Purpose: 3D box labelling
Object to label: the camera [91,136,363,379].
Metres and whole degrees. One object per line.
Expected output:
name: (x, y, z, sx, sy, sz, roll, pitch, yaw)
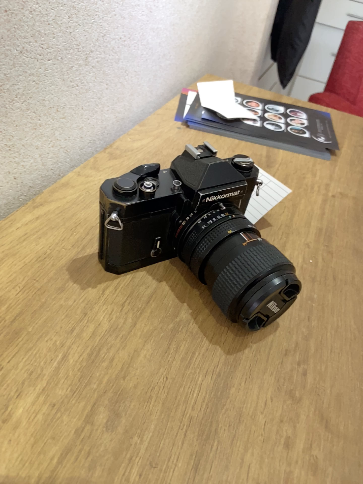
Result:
camera: (0.029, -0.004, 0.300, 0.160, 0.089, 0.141, -14, 46, -26)
